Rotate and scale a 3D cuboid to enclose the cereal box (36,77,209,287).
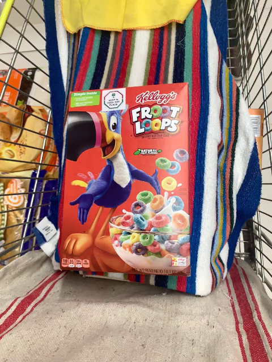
[{"bbox_3d":[-0.014,0.000,0.379,0.210,0.060,0.250,-1,80,12],"label":"cereal box"}]
